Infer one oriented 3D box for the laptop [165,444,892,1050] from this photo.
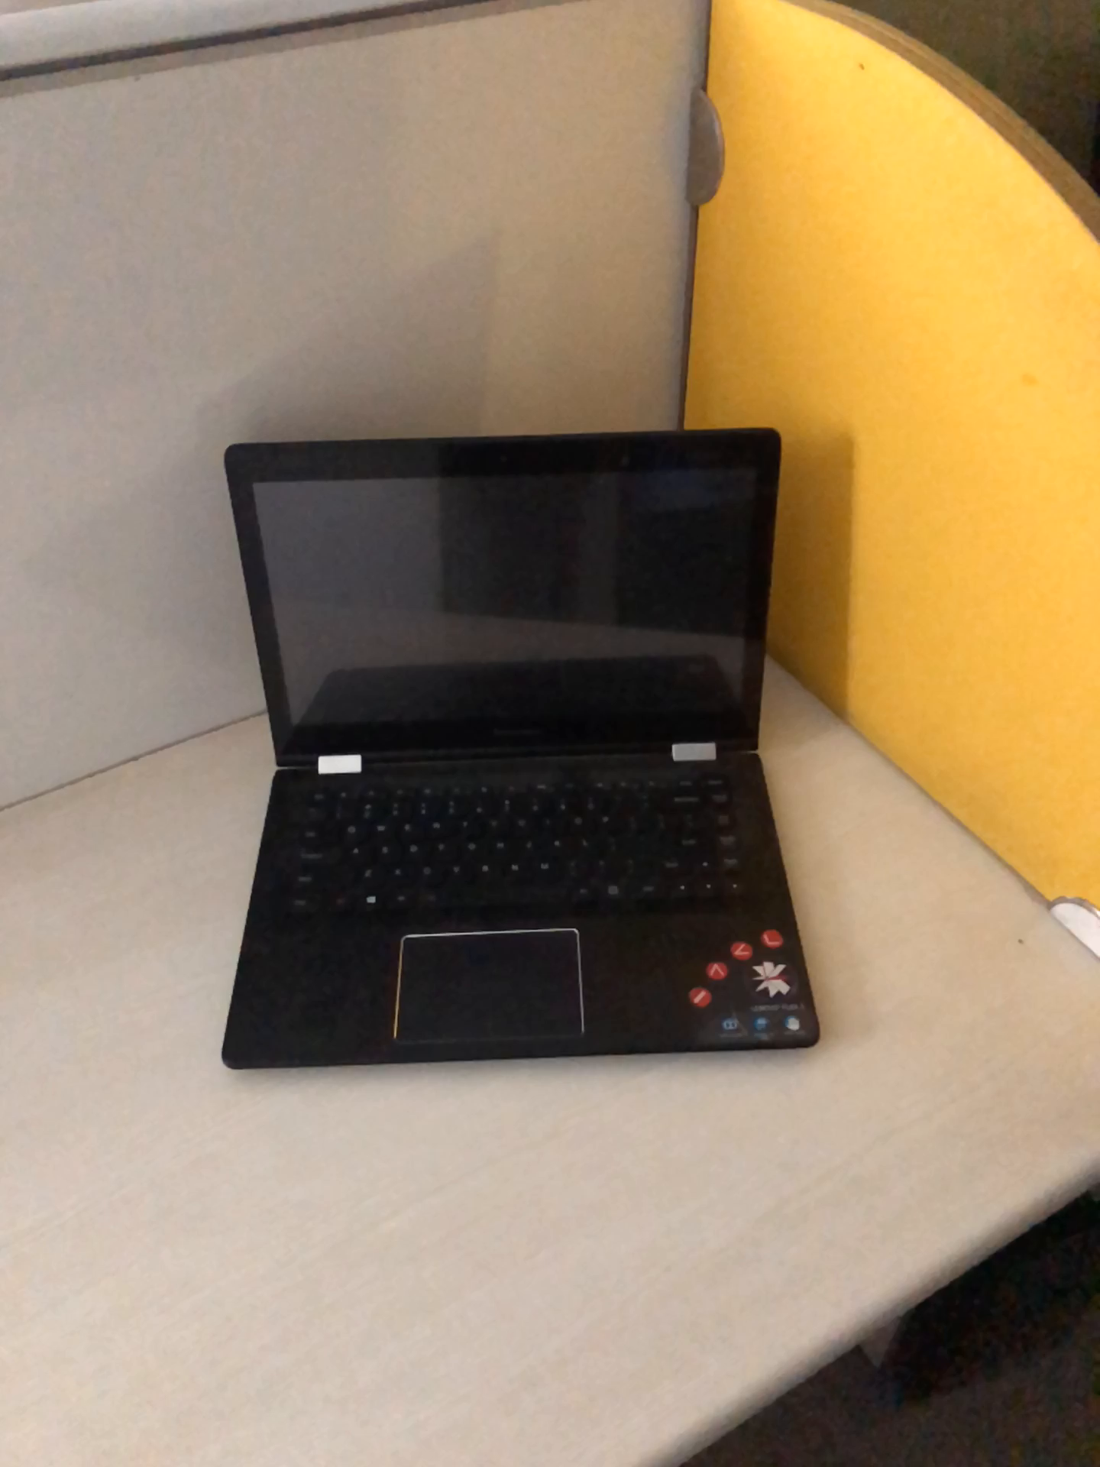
[{"bbox_3d":[-0.013,0.003,0.691,0.311,0.225,0.265,-1,44,-1],"label":"laptop"}]
